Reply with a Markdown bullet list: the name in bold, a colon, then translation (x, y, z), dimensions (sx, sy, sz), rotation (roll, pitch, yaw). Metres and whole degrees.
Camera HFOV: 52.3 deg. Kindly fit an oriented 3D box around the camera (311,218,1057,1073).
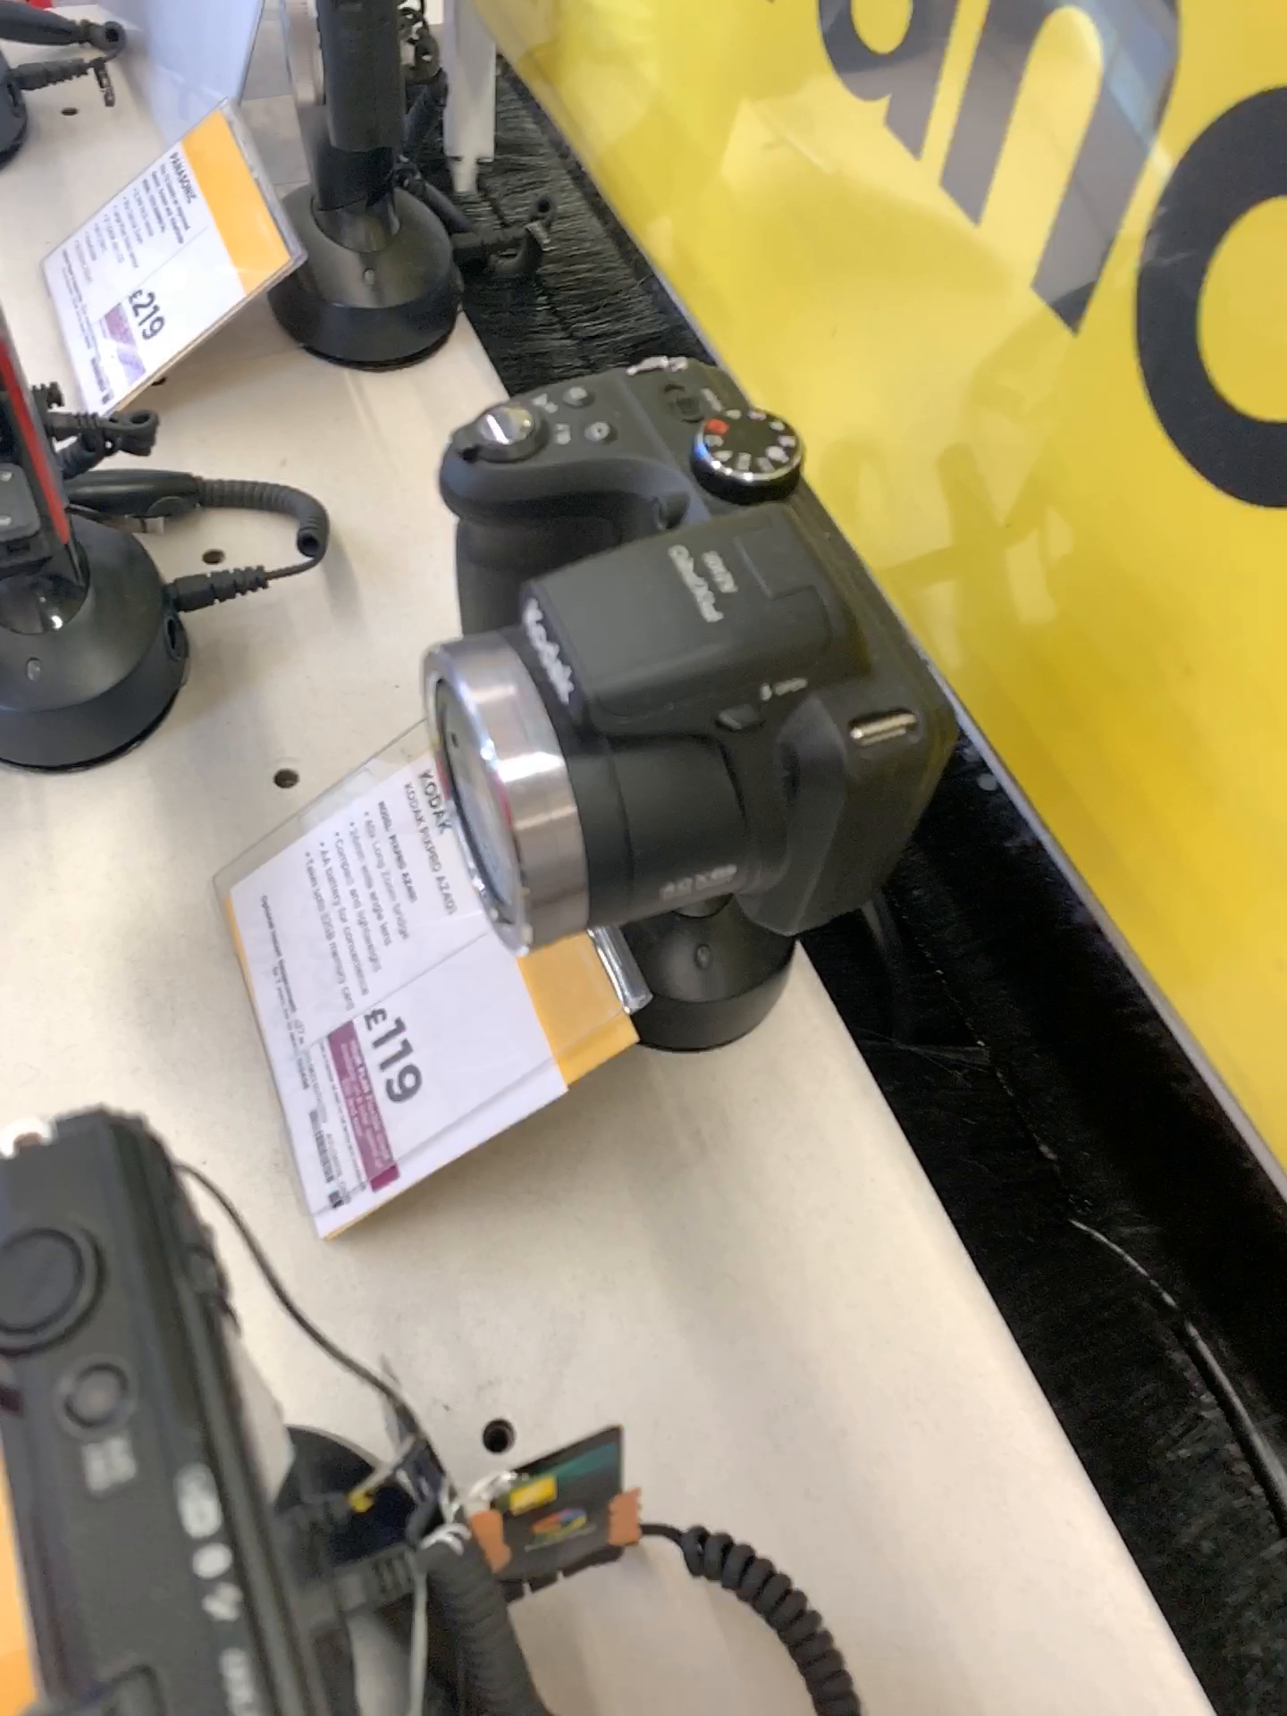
- **camera**: translation (-0.003, -0.047, 0.278), dimensions (0.090, 0.099, 0.131), rotation (-17, 59, -17)
